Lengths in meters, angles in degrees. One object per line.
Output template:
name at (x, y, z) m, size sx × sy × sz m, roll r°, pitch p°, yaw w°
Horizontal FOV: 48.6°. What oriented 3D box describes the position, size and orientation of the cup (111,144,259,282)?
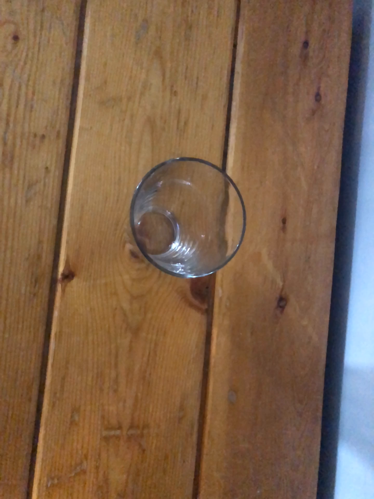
cup at (-0.013, -0.023, 0.355) m, size 0.090 × 0.150 × 0.090 m, roll 1°, pitch 87°, yaw -13°
